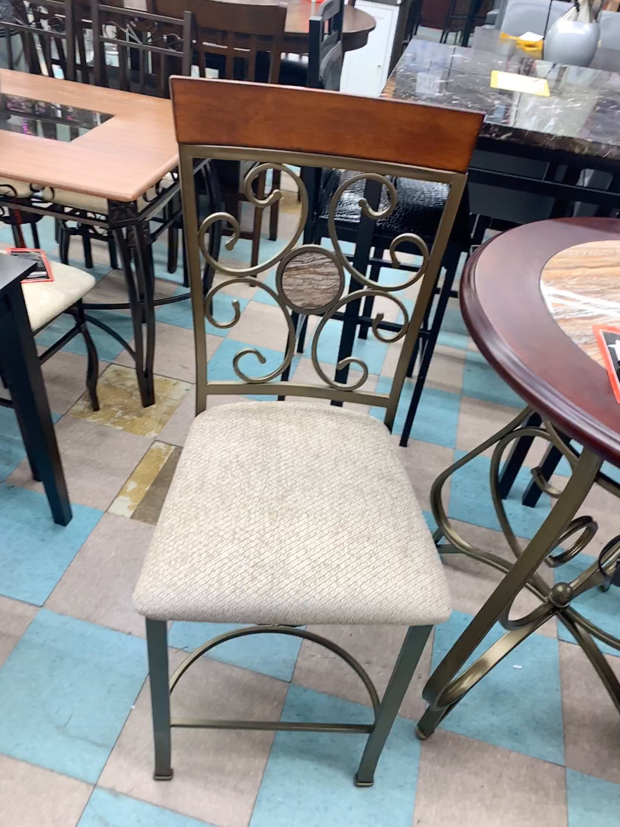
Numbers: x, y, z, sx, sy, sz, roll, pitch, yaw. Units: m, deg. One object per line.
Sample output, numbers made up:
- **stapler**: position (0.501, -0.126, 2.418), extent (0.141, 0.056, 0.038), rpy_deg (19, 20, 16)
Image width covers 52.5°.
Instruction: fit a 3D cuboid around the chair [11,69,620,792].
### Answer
- **chair**: position (-0.034, 0.107, 1.060), extent (0.510, 1.052, 0.611), rpy_deg (4, 41, -5)
